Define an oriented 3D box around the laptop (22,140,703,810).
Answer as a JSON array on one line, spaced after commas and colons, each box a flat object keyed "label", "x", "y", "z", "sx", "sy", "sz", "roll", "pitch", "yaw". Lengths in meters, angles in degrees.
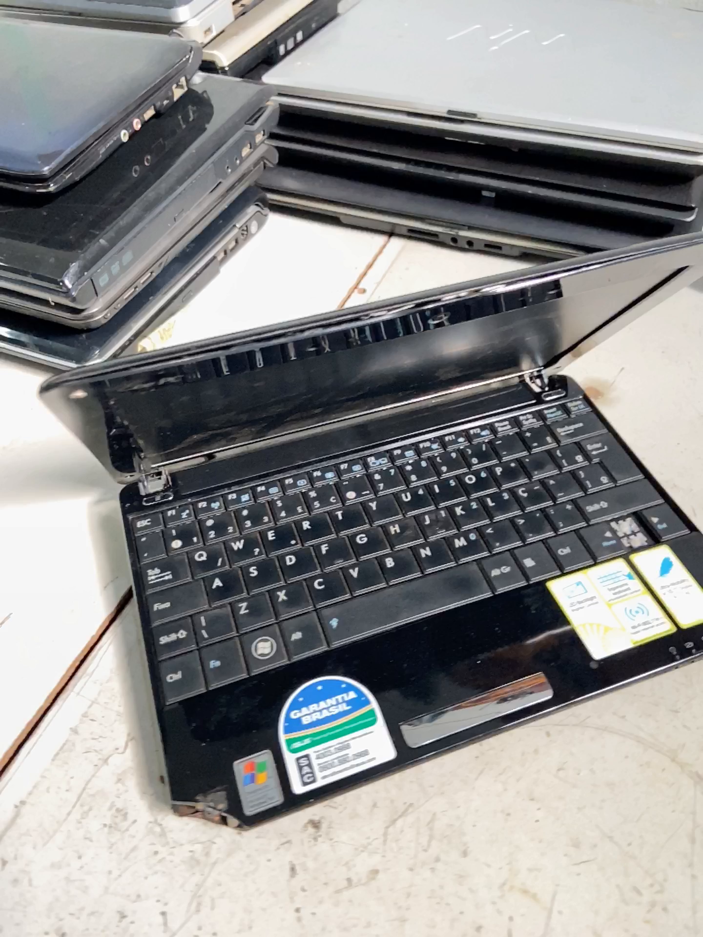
[{"label": "laptop", "x": 0.029, "y": -0.012, "z": 0.298, "sx": 0.262, "sy": 0.137, "sz": 0.168, "roll": -14, "pitch": 49, "yaw": -12}]
